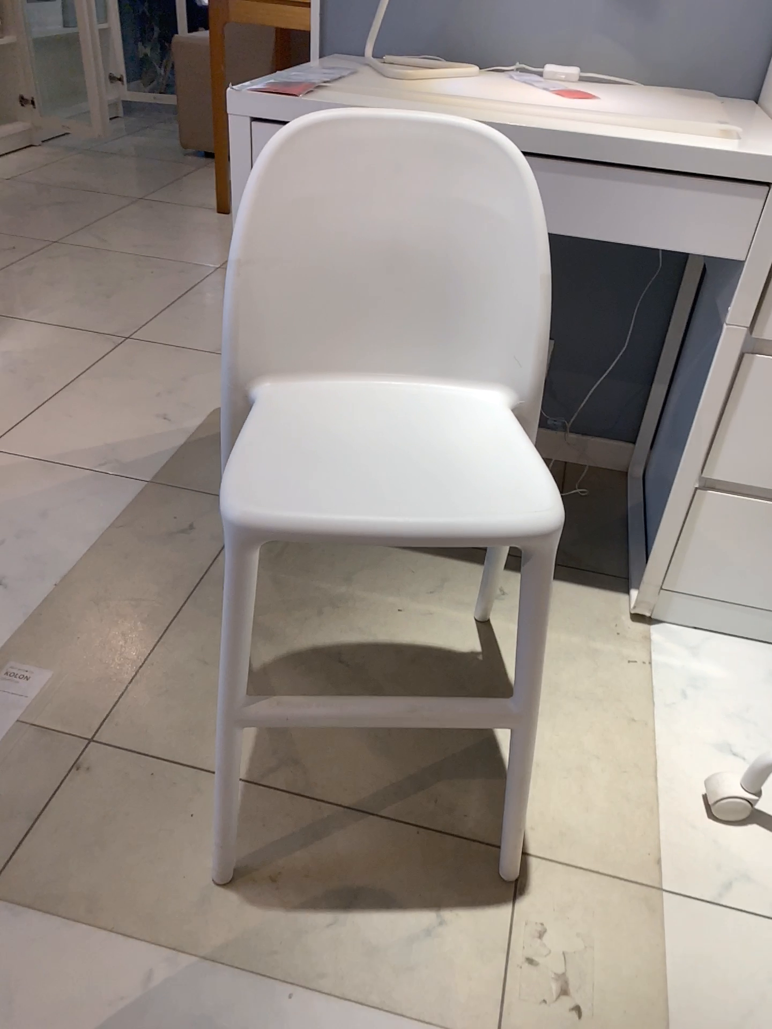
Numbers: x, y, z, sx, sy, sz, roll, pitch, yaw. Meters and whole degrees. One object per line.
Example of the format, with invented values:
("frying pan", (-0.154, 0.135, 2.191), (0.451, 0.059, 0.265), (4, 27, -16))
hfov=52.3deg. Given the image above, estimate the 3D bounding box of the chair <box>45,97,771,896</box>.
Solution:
("chair", (-0.006, -0.007, 0.882), (0.450, 0.727, 0.492), (2, 36, -4))
